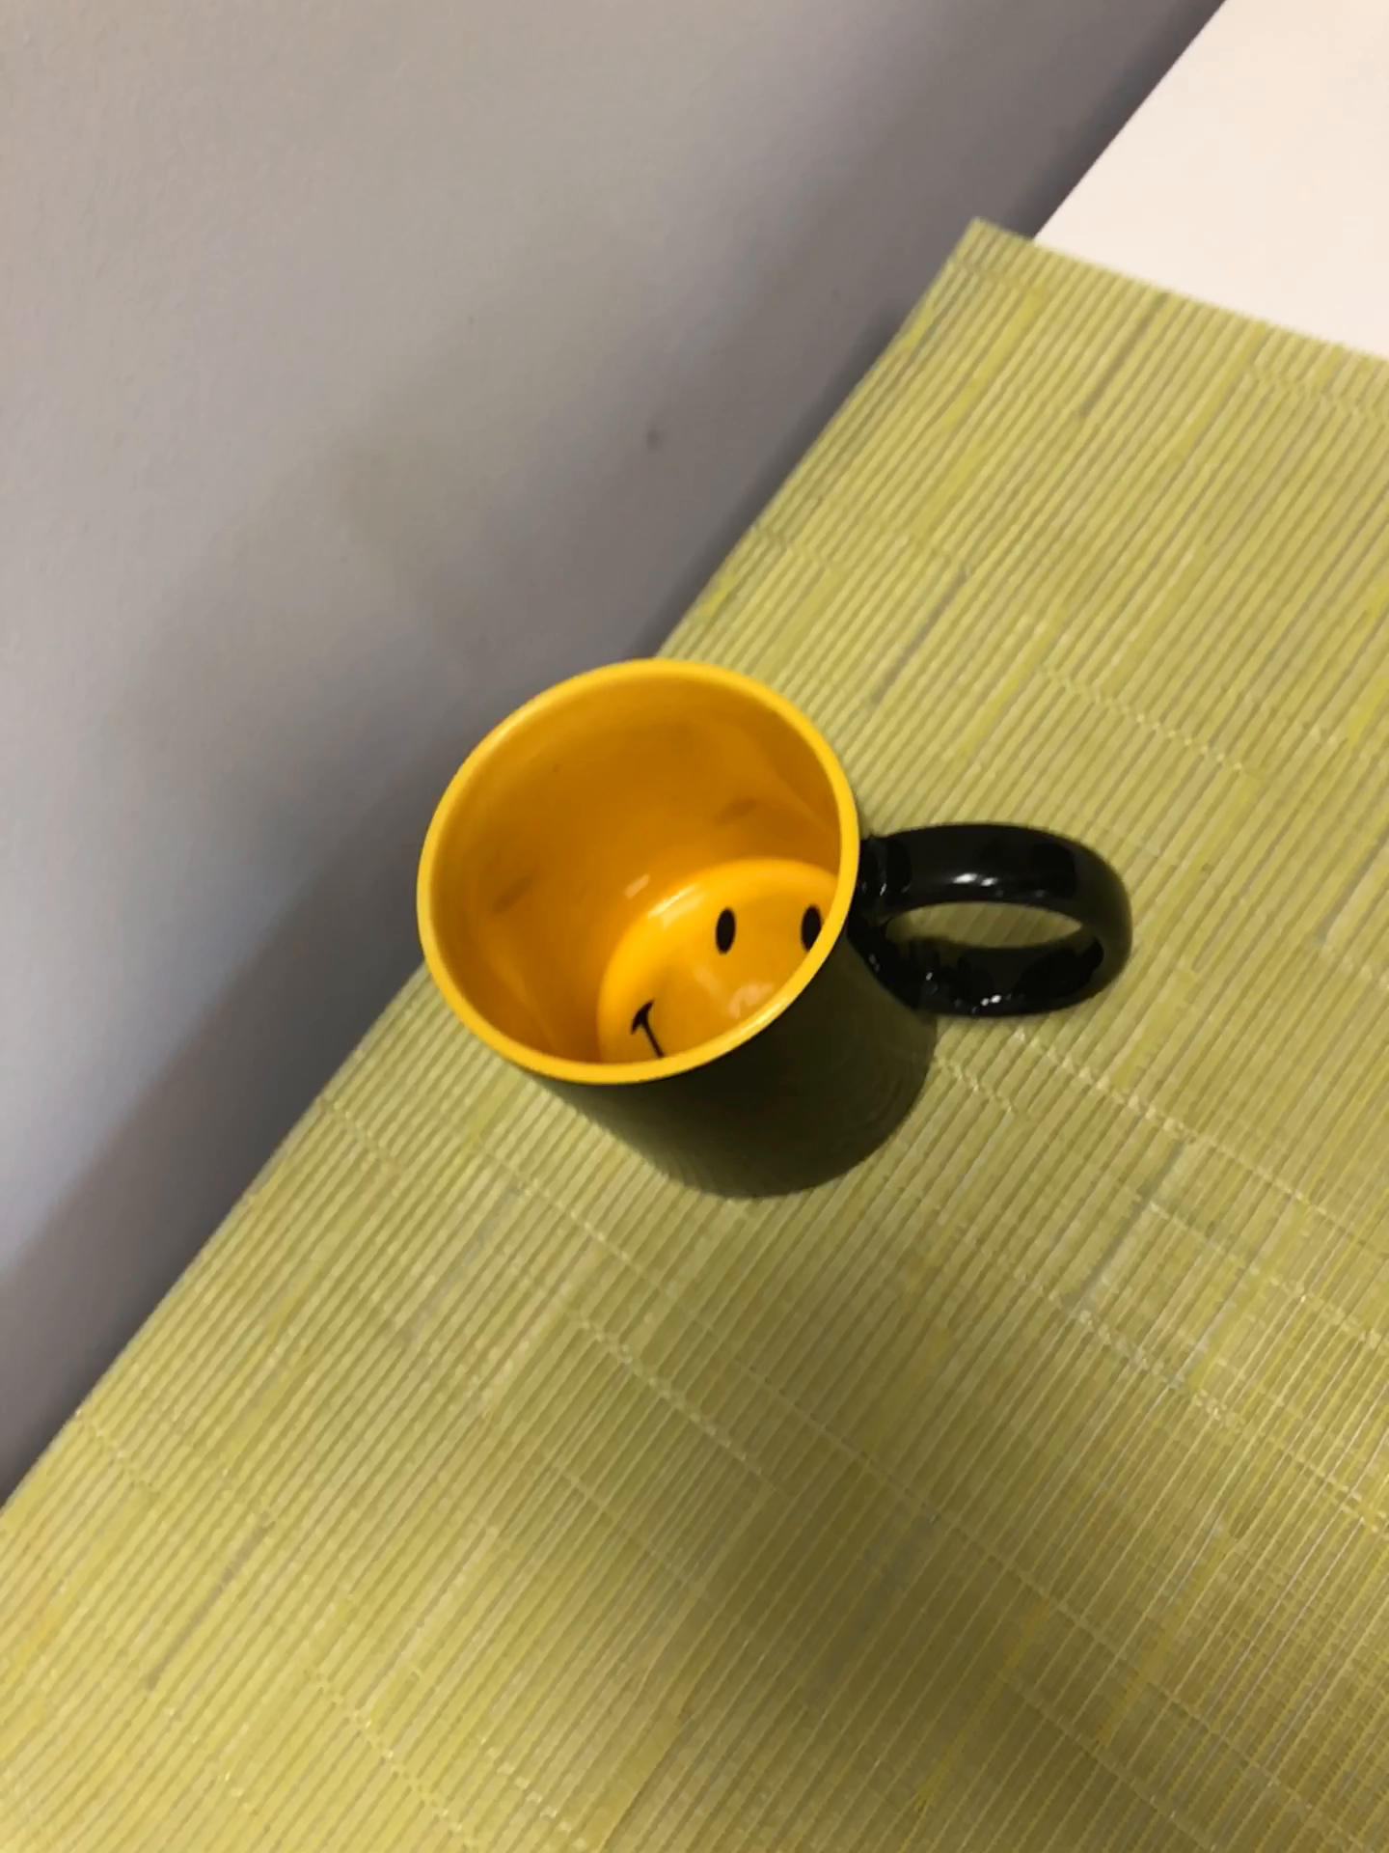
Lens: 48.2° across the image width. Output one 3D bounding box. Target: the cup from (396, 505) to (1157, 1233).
[{"bbox_3d":[0.020,-0.001,0.303,0.119,0.104,0.088,-10,66,14],"label":"cup"}]
